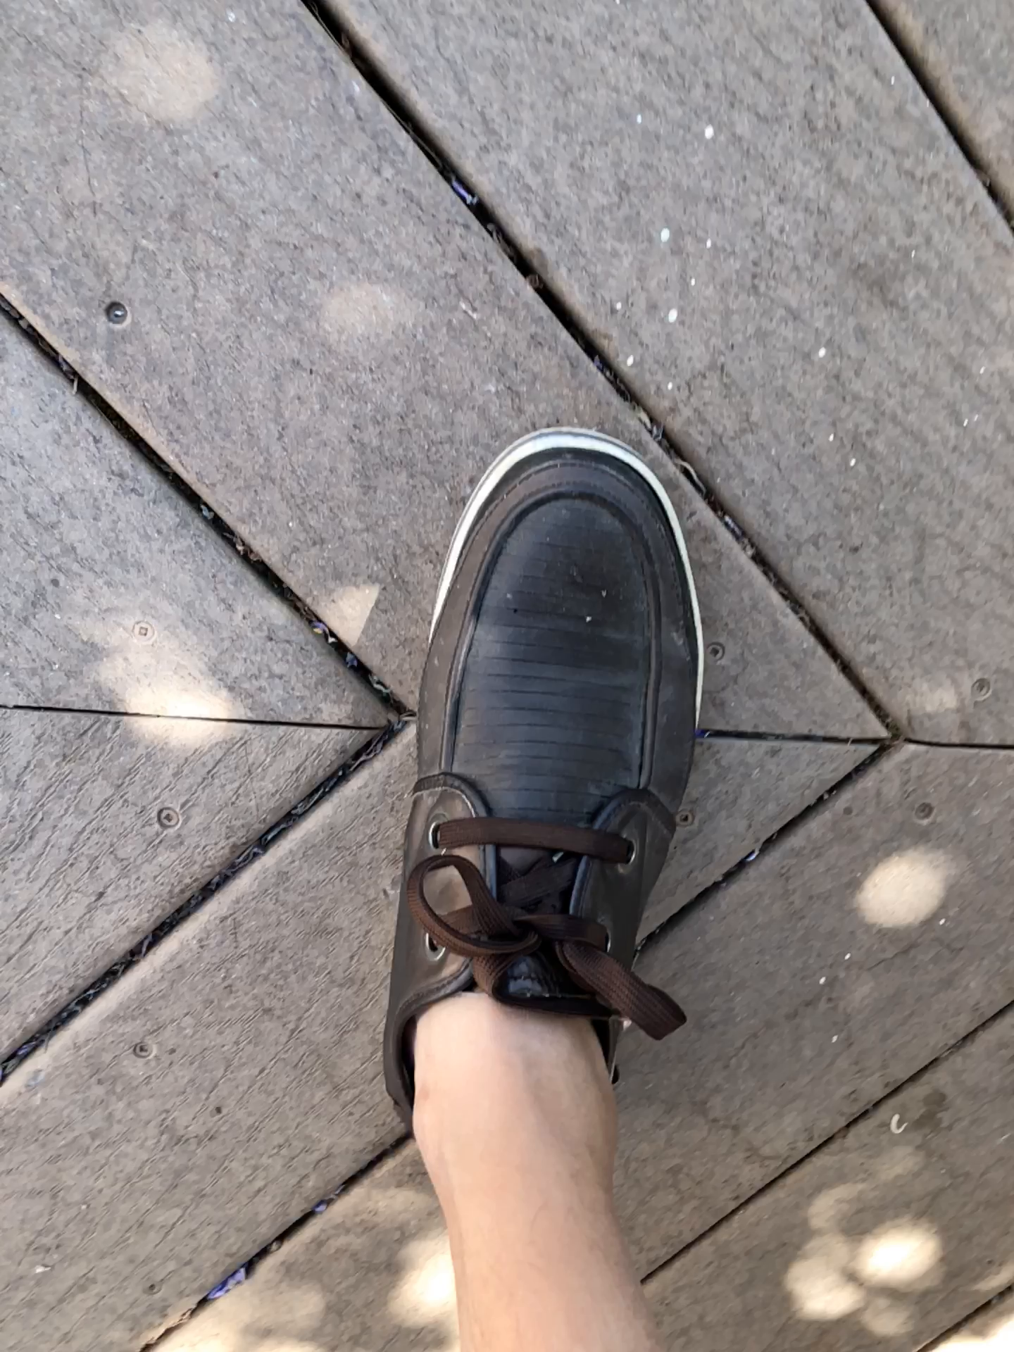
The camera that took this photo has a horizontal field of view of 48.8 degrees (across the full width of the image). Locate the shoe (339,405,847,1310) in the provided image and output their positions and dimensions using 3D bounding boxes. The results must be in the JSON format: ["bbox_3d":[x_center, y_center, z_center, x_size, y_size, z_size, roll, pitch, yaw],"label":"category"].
[{"bbox_3d":[0.015,0.064,0.389,0.107,0.096,0.289,7,106,-8],"label":"shoe"}]
